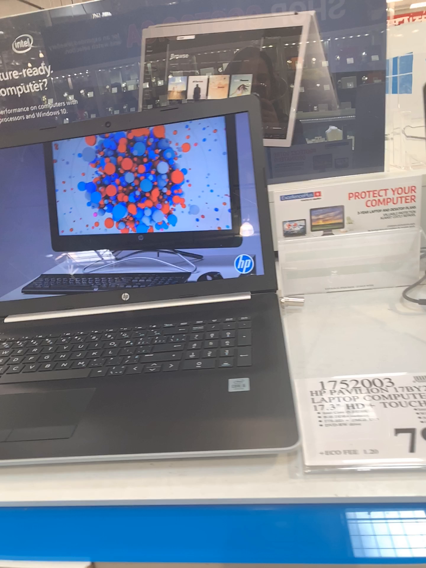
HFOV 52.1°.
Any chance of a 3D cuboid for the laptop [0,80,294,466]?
[{"bbox_3d":[-0.138,-0.047,0.464,0.395,0.234,0.371,-6,21,7],"label":"laptop"}]
